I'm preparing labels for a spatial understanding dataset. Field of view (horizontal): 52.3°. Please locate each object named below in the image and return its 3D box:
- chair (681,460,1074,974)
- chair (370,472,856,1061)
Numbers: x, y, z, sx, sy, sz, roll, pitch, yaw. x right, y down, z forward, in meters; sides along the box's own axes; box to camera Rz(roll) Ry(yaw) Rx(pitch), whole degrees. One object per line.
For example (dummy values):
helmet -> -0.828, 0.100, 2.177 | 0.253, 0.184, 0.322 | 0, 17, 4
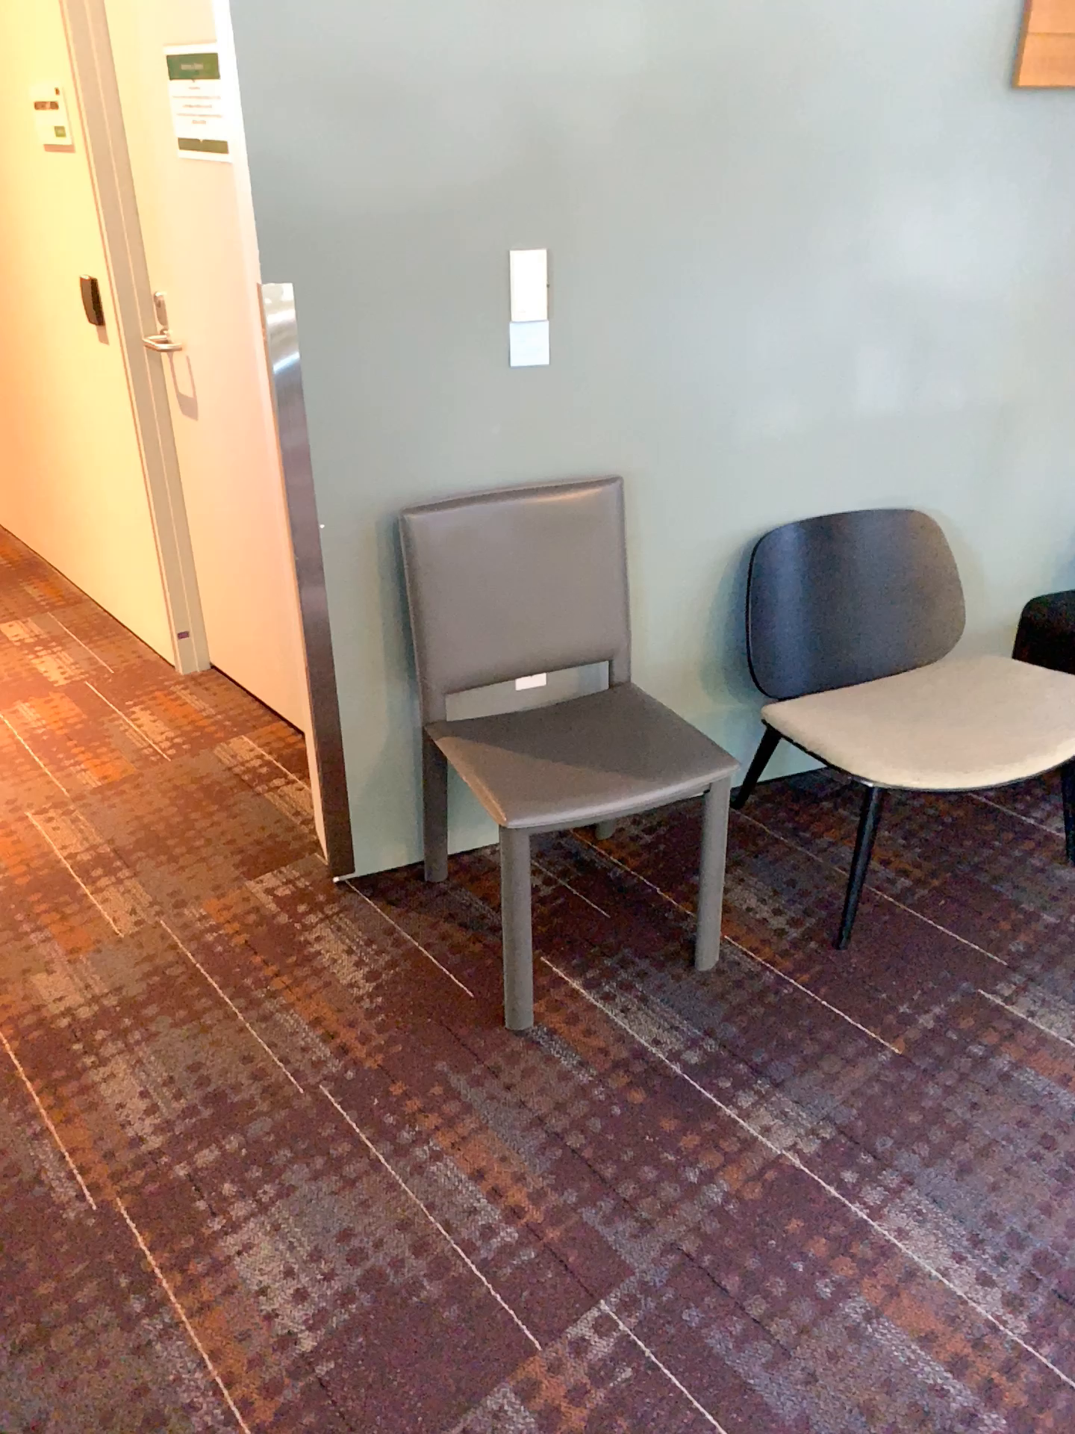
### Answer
chair -> 0.883, -0.057, 2.570 | 0.790, 0.835, 0.714 | -13, 30, -22
chair -> 0.109, 0.044, 2.202 | 0.640, 0.835, 0.694 | -13, 30, -22
